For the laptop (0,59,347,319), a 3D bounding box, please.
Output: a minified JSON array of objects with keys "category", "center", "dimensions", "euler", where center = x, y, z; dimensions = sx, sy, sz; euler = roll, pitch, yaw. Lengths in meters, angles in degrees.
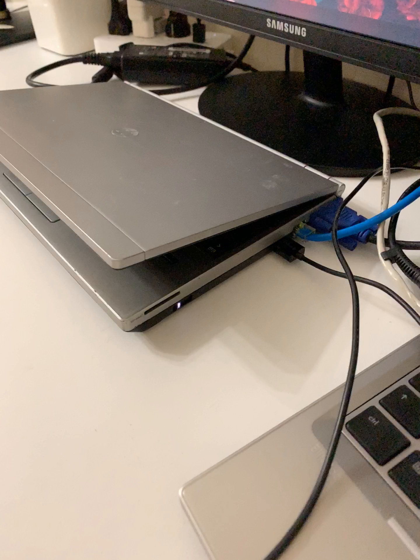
[{"category":"laptop","center":[-0.069,-0.109,0.353],"dimensions":[0.183,0.029,0.294],"euler":[-31,50,-25]}]
